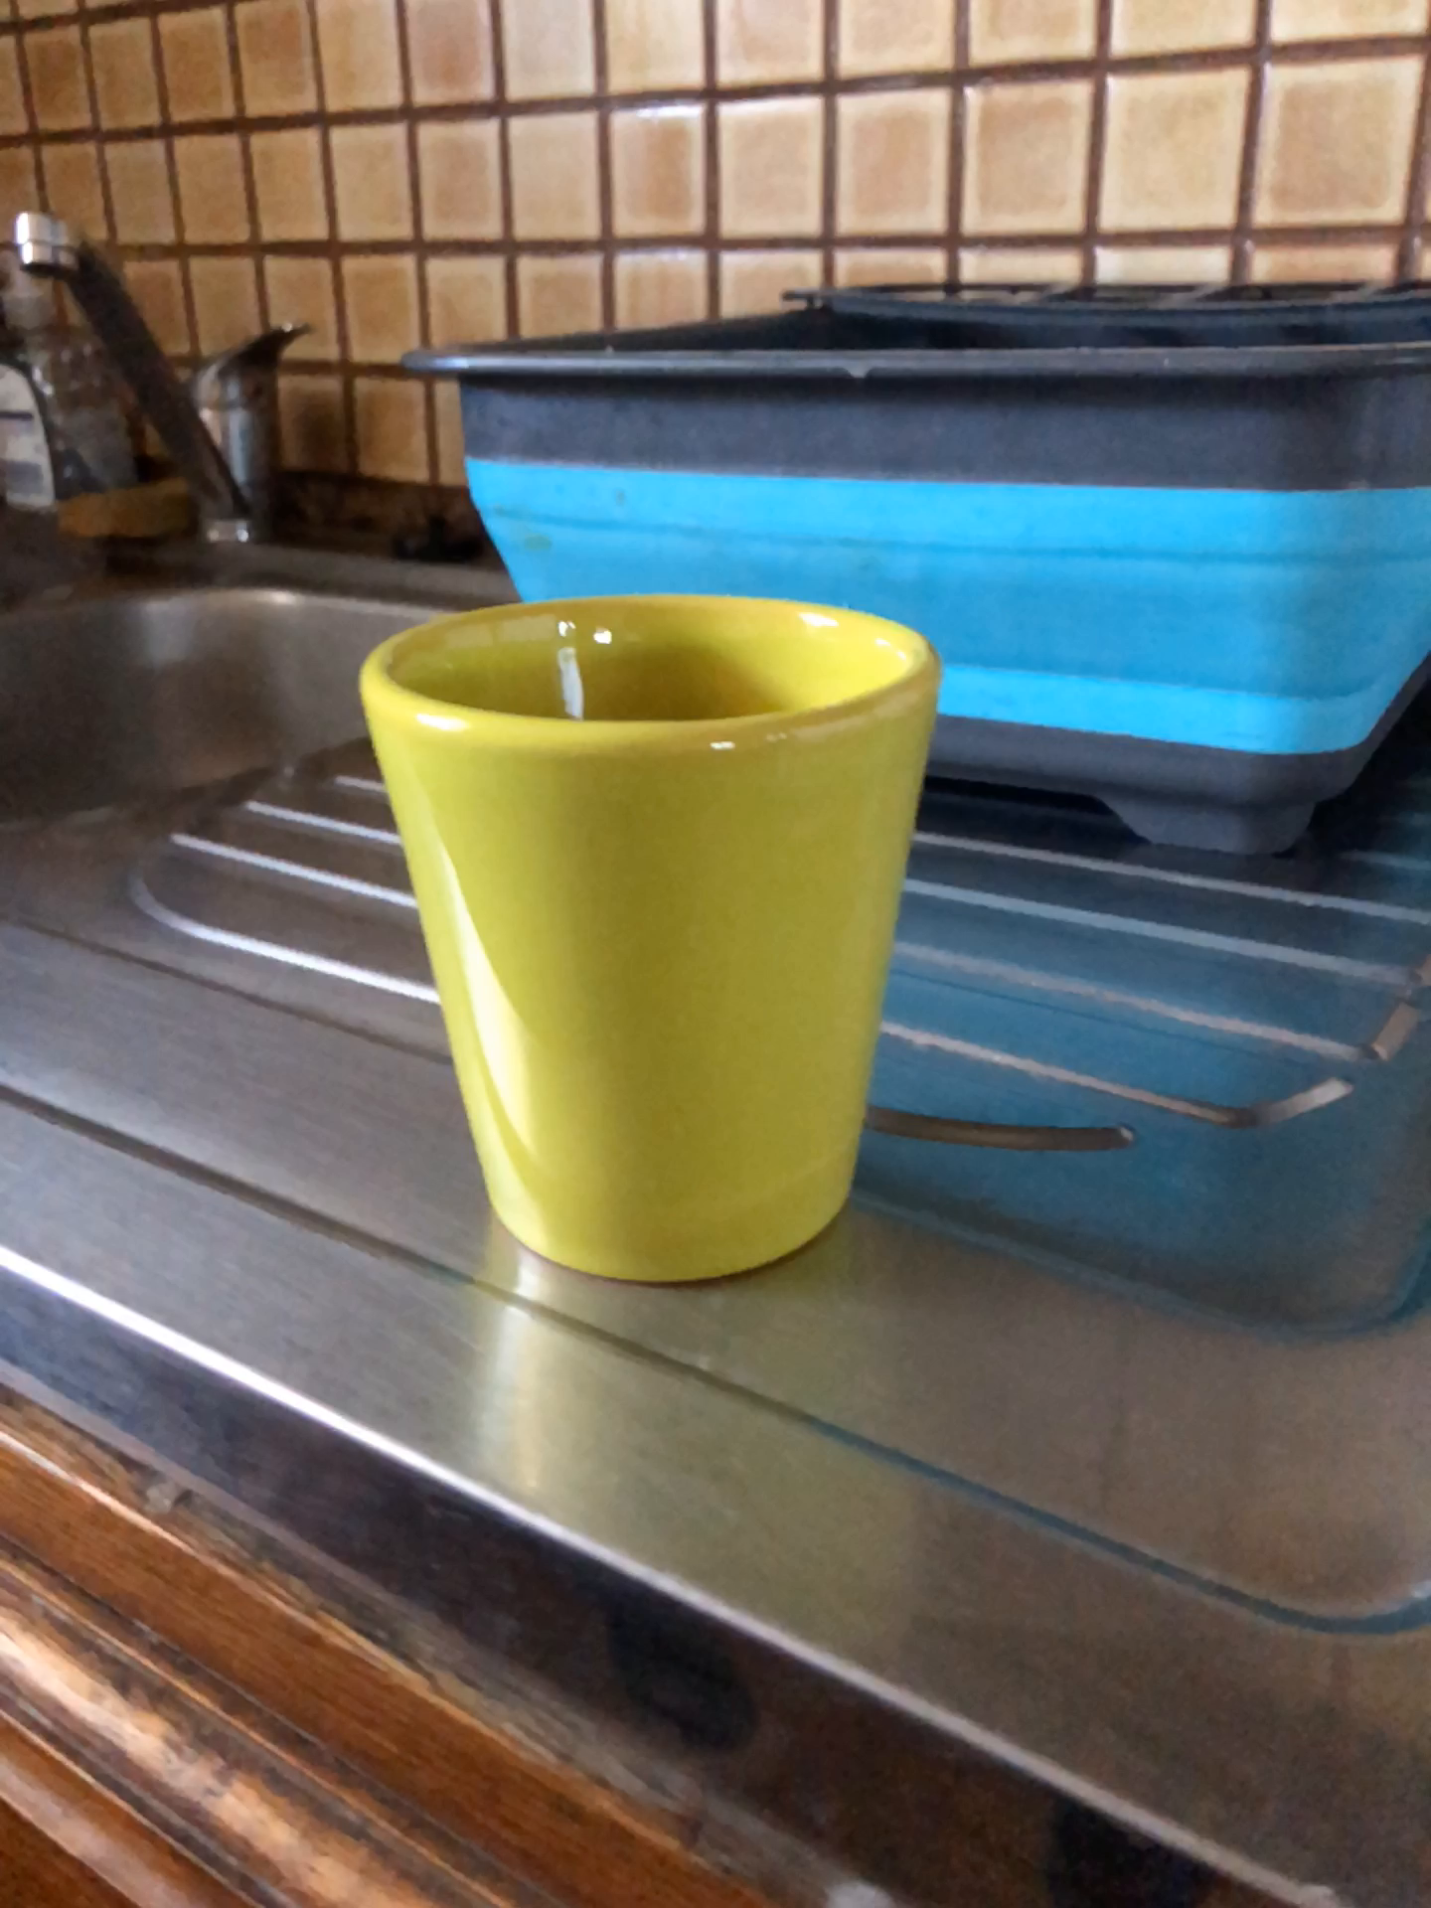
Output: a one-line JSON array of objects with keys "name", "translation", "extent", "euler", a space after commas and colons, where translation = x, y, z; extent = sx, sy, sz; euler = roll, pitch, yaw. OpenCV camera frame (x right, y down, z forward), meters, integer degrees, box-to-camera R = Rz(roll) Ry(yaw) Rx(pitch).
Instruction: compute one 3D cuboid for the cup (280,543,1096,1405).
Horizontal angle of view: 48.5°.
[{"name": "cup", "translation": [-0.001, -0.006, 0.236], "extent": [0.080, 0.090, 0.080], "euler": [-1, 23, 0]}]
